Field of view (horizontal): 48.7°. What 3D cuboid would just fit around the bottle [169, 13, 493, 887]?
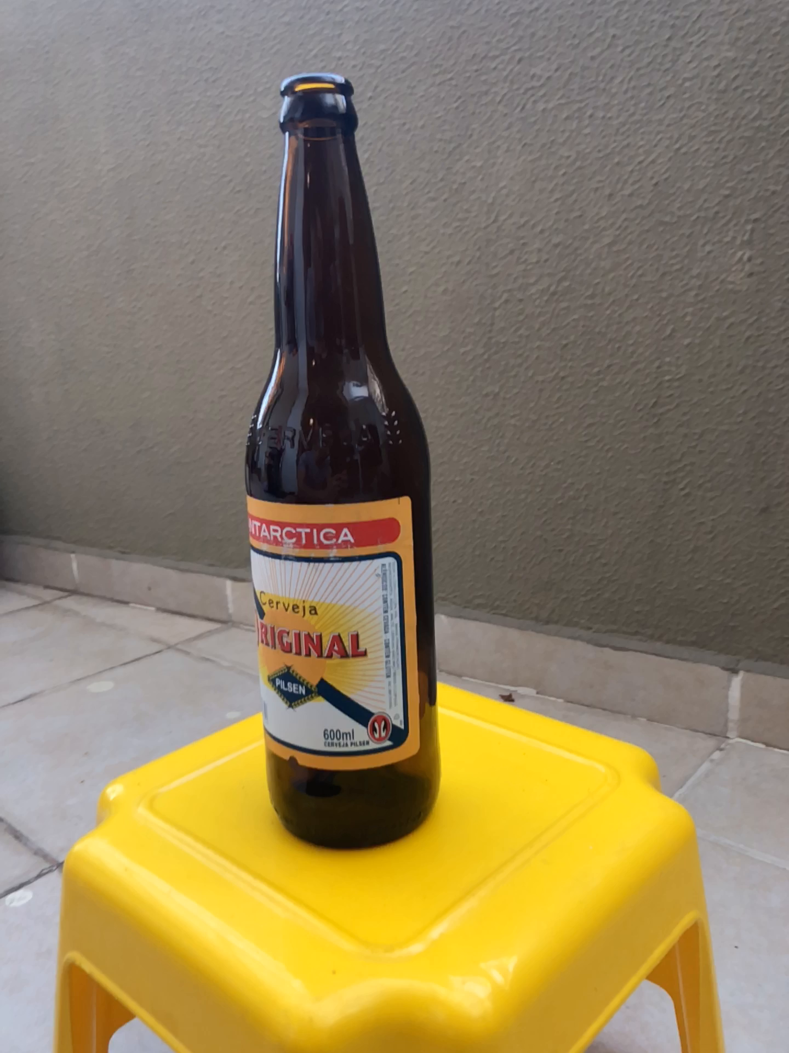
[{"bbox_3d":[-0.020,-0.023,0.343,0.080,0.289,0.080,-2,11,0],"label":"bottle"}]
